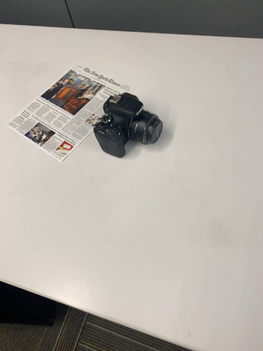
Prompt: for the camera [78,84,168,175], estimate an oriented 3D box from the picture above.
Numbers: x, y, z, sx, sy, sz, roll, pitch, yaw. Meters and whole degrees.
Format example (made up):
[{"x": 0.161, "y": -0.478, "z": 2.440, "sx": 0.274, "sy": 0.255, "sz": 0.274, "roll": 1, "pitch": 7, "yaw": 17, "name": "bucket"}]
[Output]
[{"x": -0.012, "y": -0.109, "z": 0.633, "sx": 0.143, "sy": 0.100, "sz": 0.146, "roll": 22, "pitch": 66, "yaw": 20, "name": "camera"}]
